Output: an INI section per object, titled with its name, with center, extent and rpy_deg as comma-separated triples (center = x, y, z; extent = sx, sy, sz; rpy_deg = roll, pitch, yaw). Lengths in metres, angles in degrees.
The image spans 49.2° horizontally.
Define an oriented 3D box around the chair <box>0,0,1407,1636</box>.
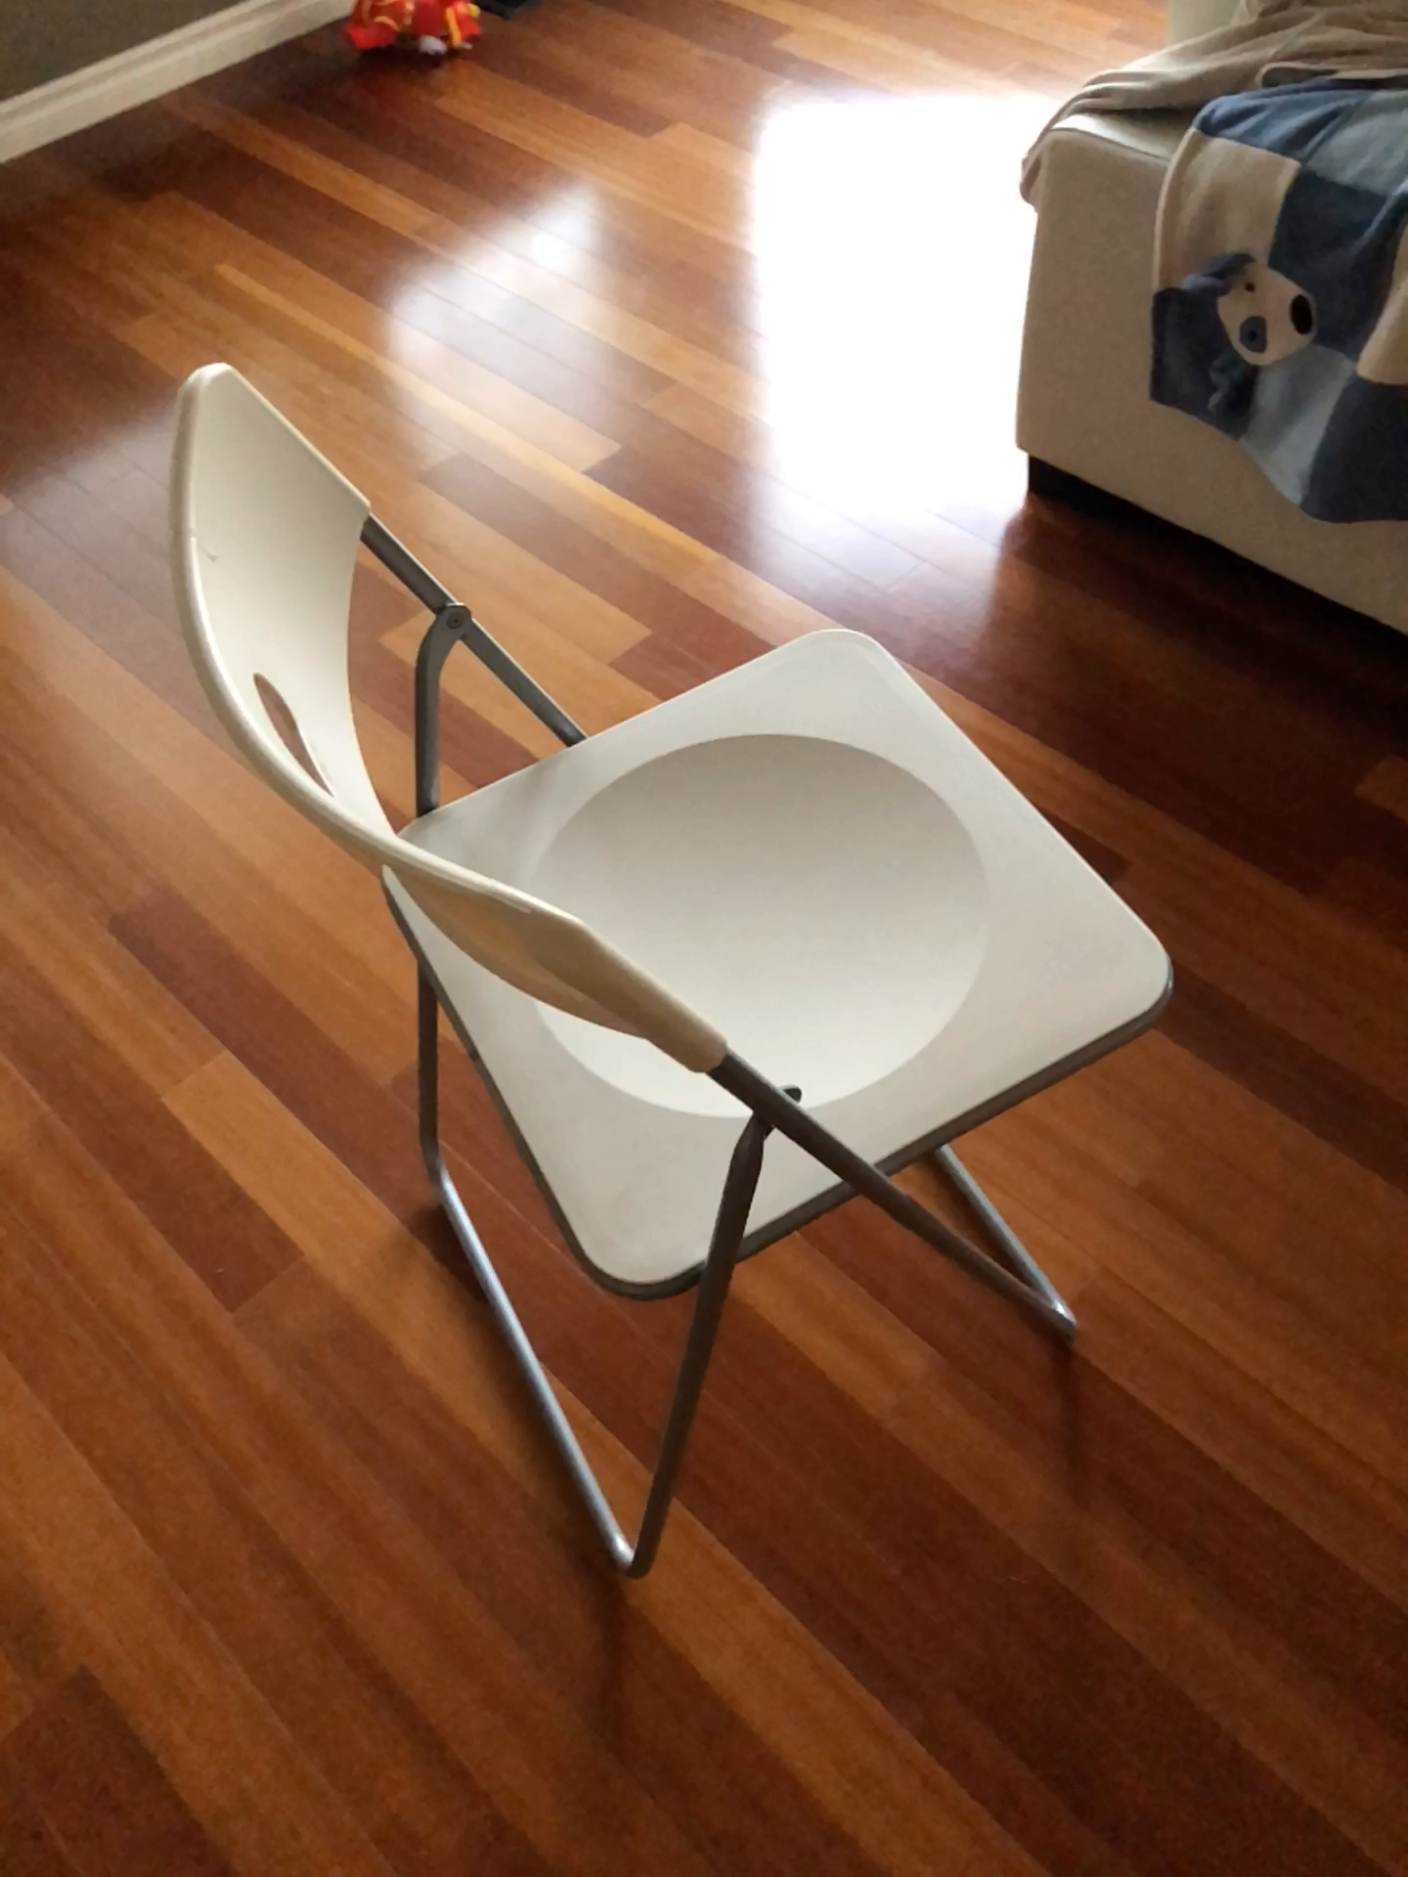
[chair]
center = 0.055, -0.054, 0.830
extent = 0.540, 0.577, 0.462
rpy_deg = -24, 54, -15
